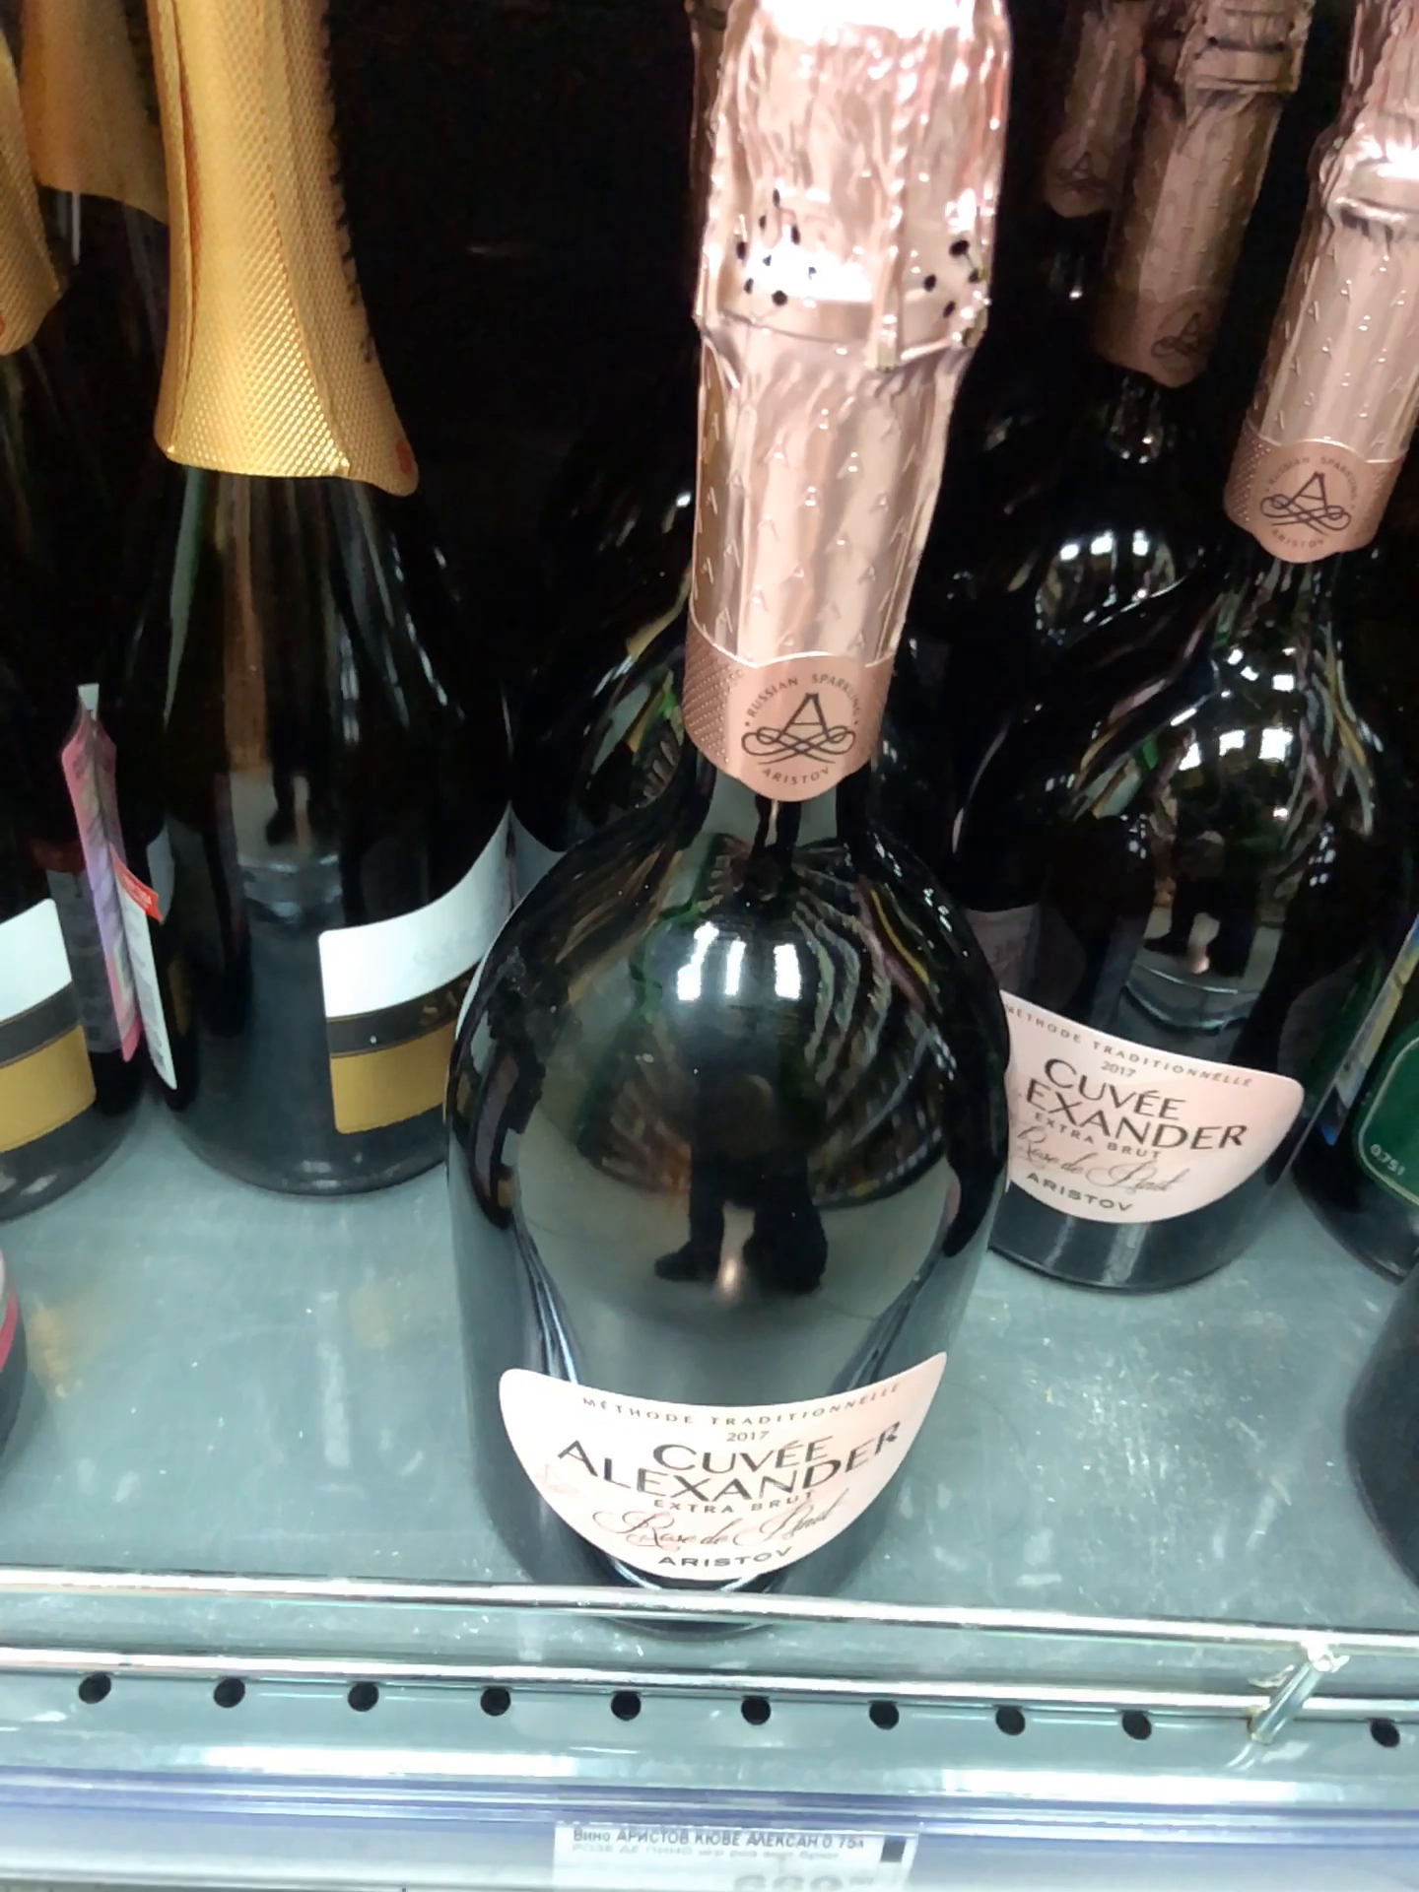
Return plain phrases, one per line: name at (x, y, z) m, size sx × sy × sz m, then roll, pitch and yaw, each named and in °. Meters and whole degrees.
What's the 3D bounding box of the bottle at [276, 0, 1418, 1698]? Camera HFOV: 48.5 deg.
bottle at (0.006, 0.004, 0.250) m, size 0.110 × 0.278 × 0.091 m, roll 0°, pitch 39°, yaw -7°
